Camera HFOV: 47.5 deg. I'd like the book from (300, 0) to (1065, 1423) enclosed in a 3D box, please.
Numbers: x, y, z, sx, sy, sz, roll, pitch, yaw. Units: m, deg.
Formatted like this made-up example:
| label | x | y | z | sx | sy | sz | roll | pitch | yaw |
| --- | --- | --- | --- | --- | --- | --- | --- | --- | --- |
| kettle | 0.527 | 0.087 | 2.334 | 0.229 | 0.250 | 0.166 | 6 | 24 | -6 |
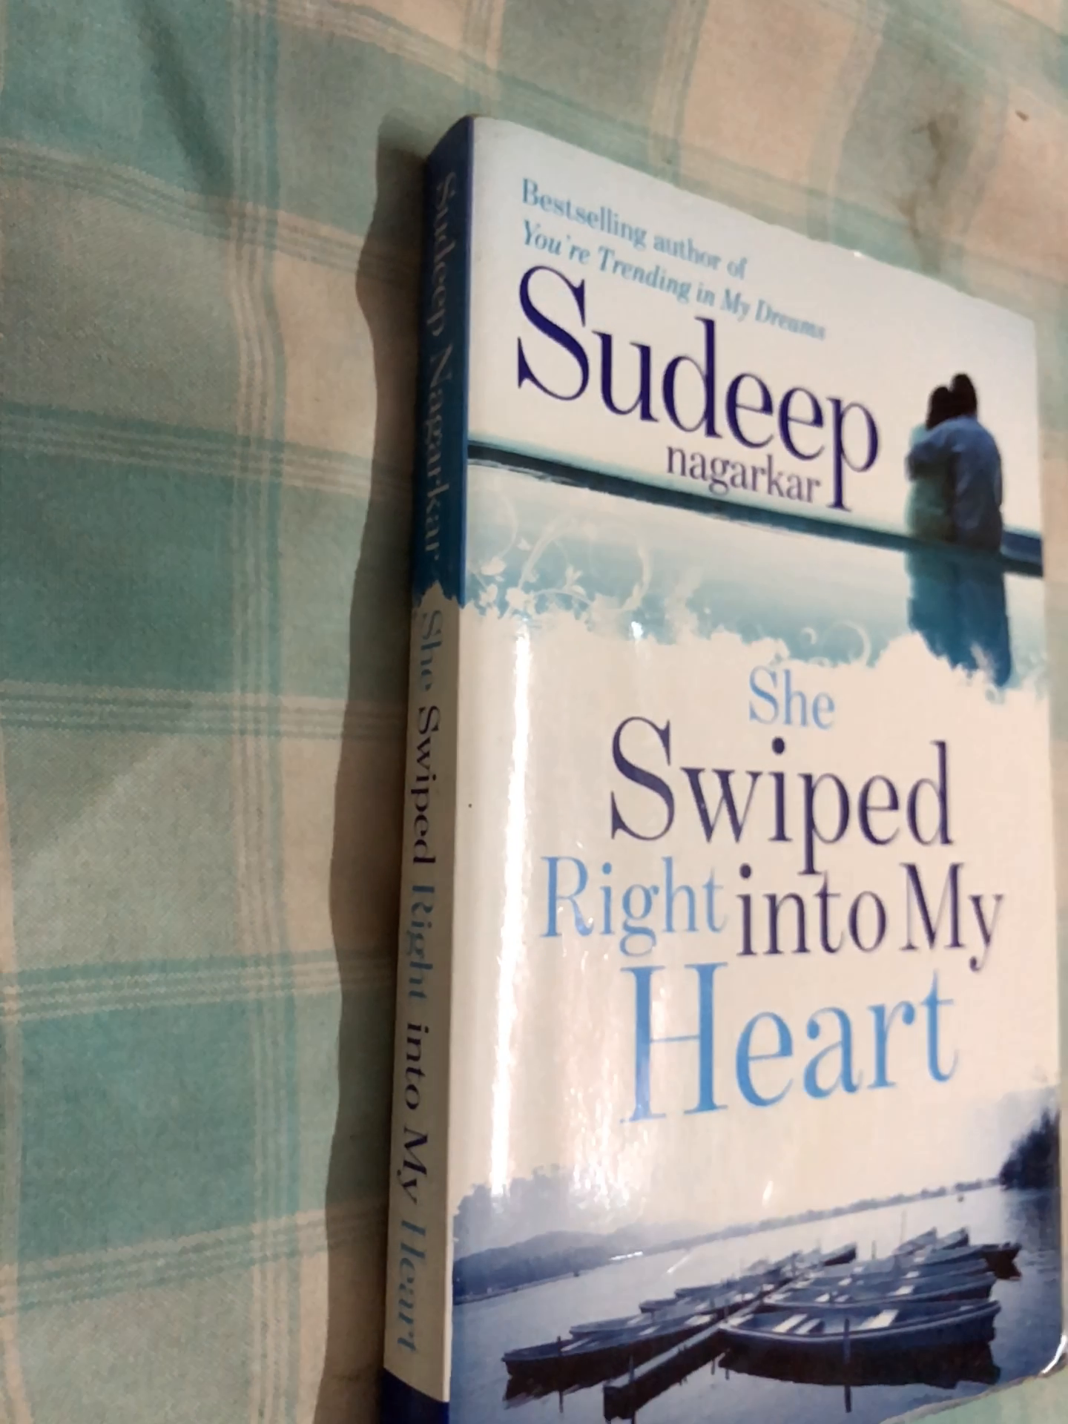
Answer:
| label | x | y | z | sx | sy | sz | roll | pitch | yaw |
| --- | --- | --- | --- | --- | --- | --- | --- | --- | --- |
| book | 0.033 | 0.011 | 0.202 | 0.131 | 0.030 | 0.210 | 5 | 84 | -31 |
